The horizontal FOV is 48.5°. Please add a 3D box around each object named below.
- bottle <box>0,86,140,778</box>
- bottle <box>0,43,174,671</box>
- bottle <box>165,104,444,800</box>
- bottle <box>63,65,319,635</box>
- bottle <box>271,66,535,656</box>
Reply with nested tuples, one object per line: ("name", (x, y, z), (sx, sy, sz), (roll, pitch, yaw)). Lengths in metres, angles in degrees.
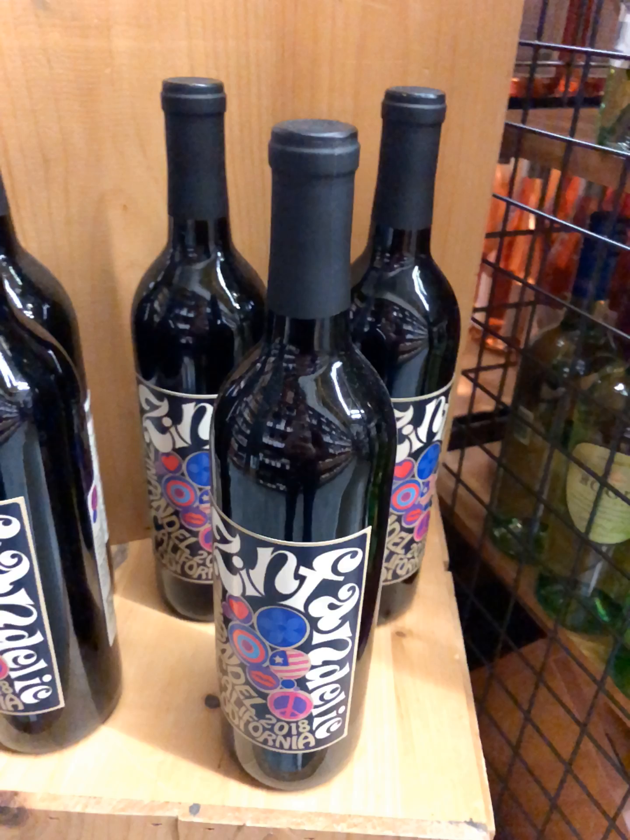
("bottle", (-0.141, 0.027, 0.308), (0.080, 0.304, 0.077), (2, 31, -1))
("bottle", (-0.132, -0.018, 0.336), (0.077, 0.280, 0.080), (2, 31, -1))
("bottle", (-0.006, 0.034, 0.285), (0.073, 0.286, 0.070), (2, 31, -1))
("bottle", (-0.059, -0.026, 0.363), (0.080, 0.274, 0.077), (2, 31, -1))
("bottle", (0.032, -0.019, 0.387), (0.080, 0.310, 0.077), (2, 31, -1))
